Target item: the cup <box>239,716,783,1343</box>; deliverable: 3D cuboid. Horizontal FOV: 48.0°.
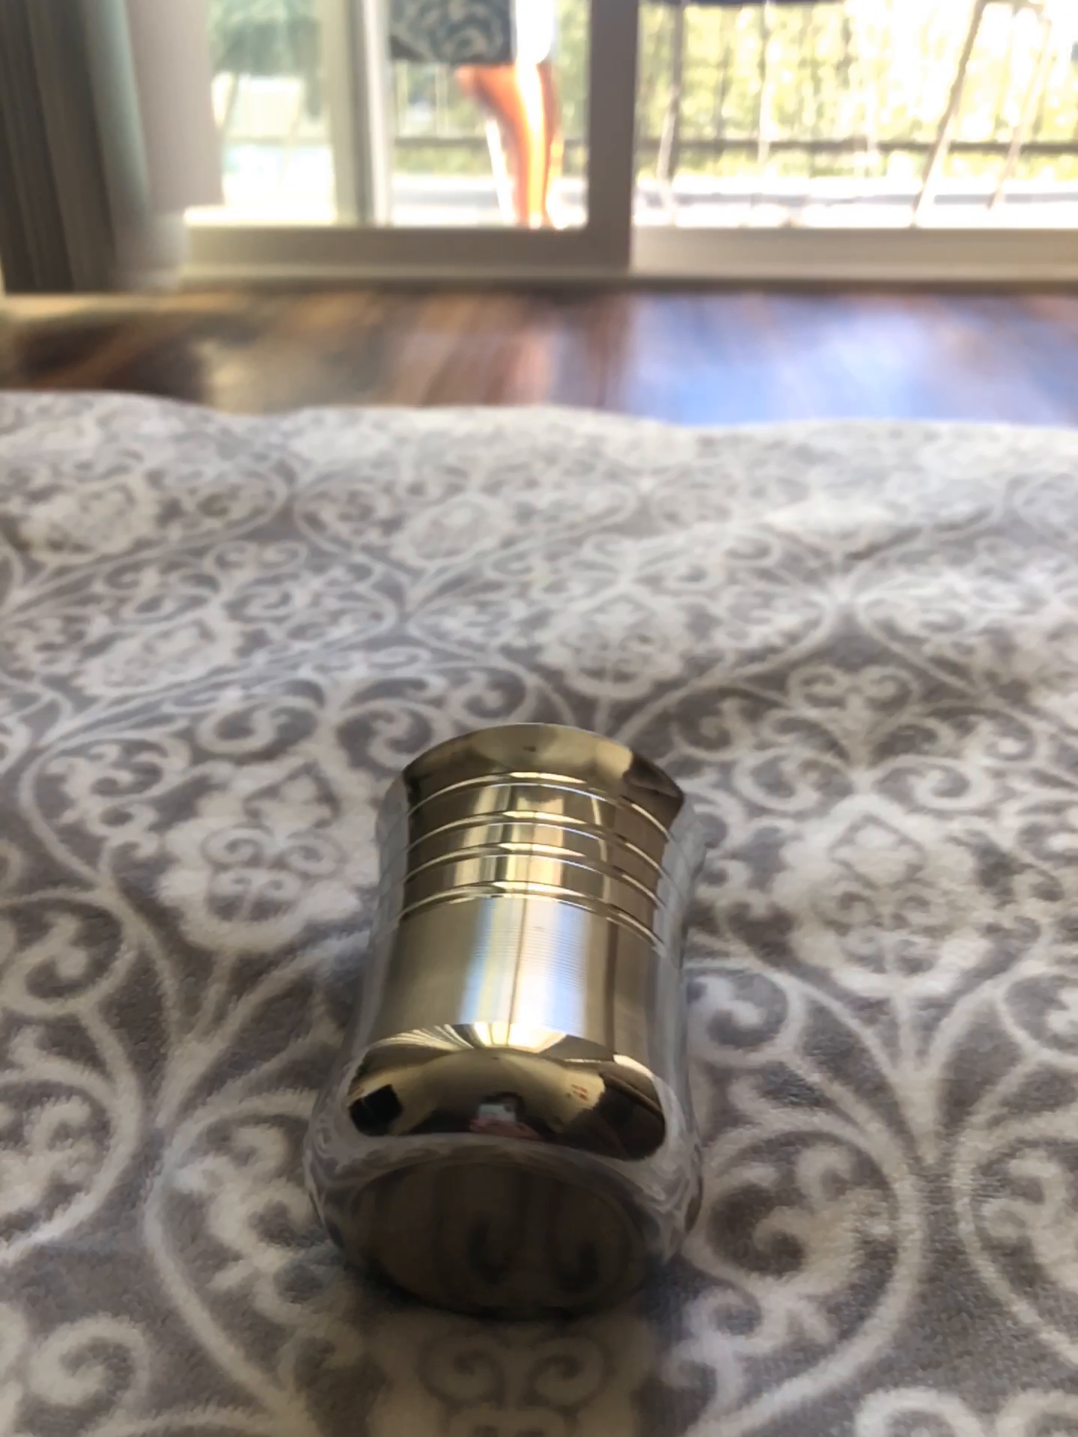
[{"bbox_3d":[-0.001,0.052,0.225,0.077,0.066,0.087,2,32,4],"label":"cup"}]
